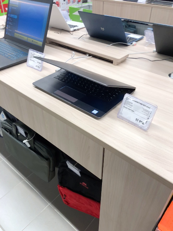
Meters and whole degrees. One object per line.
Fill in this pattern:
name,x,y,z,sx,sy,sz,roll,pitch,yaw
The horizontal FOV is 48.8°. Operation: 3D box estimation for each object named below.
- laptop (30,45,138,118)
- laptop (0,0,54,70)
laptop,-0.017,-0.155,0.741,0.345,0.099,0.222,28,47,31
laptop,-0.438,-0.471,1.013,0.348,0.230,0.378,28,47,30
